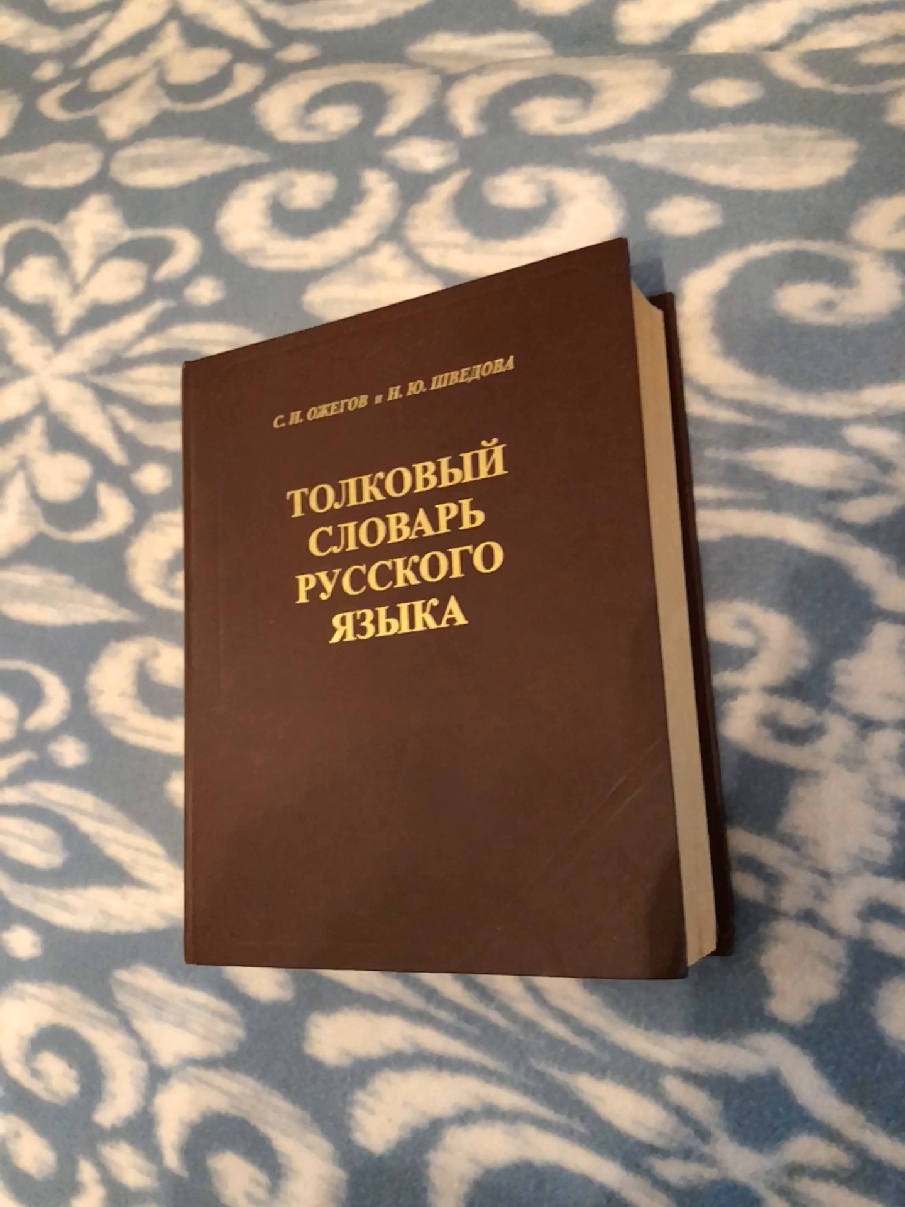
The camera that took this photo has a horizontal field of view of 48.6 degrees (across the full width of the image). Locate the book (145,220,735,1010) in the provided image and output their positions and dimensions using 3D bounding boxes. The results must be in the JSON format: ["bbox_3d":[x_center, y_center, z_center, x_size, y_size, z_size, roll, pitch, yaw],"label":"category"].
[{"bbox_3d":[-0.015,0.011,0.413,0.220,0.067,0.270,-8,77,25],"label":"book"}]
